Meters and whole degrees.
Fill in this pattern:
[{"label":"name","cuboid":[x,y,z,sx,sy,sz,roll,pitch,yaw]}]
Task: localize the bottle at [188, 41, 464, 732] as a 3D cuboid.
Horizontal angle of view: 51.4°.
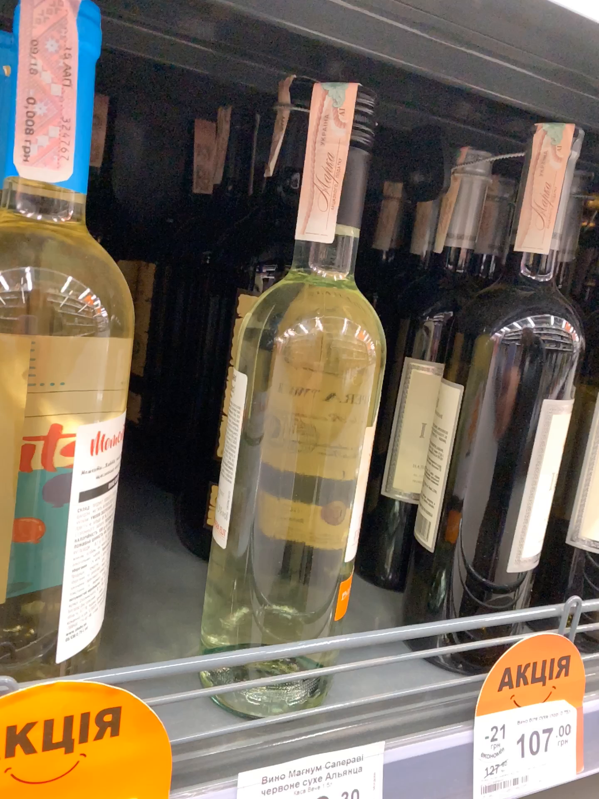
[{"label":"bottle","cuboid":[0.001,0.006,0.299,0.070,0.294,0.070,9,12,-2]}]
